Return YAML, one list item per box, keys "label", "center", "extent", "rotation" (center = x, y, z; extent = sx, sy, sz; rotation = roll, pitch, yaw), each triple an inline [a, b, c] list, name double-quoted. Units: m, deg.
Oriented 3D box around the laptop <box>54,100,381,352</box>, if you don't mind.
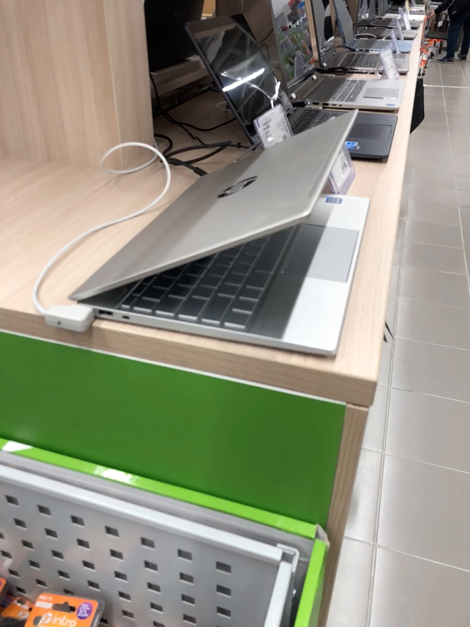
- label: "laptop"
  center: [0.018, -0.116, 0.496]
  extent: [0.206, 0.095, 0.323]
  rotation: [11, 35, 14]
